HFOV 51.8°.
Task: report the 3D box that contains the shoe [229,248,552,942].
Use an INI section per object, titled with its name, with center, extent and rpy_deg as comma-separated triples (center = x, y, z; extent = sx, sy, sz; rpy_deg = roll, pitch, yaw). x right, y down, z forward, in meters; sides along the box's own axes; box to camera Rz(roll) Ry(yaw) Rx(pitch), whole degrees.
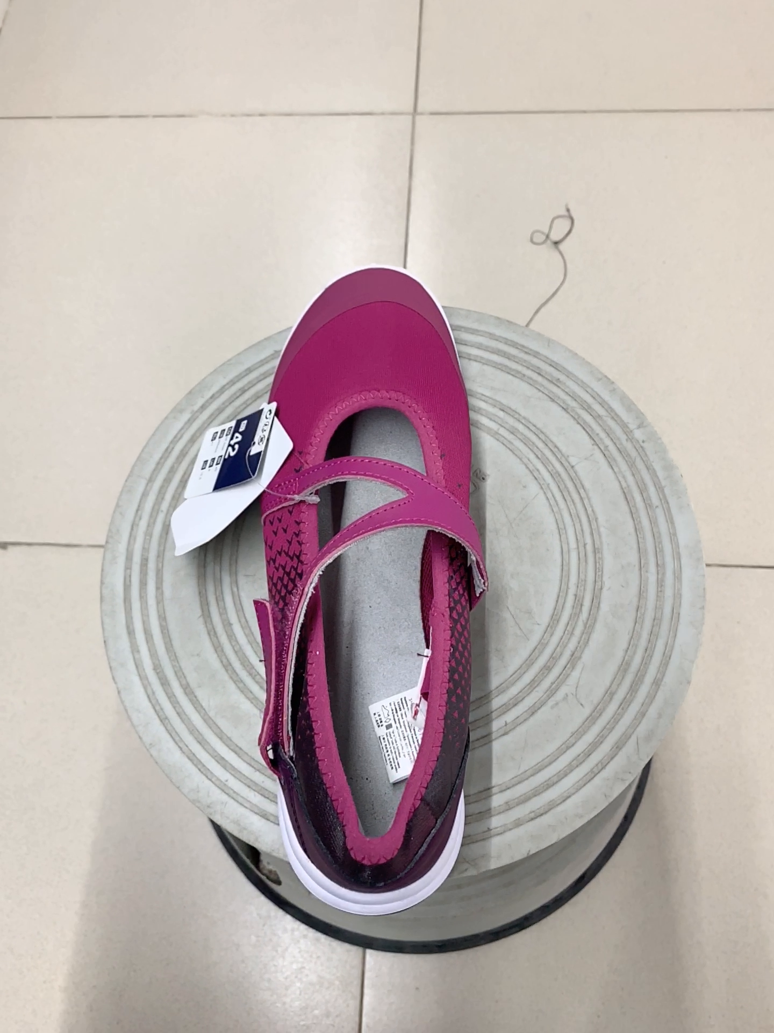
[shoe]
center = -0.003, 0.022, 0.327
extent = 0.100, 0.070, 0.260
rpy_deg = -4, 68, 2
